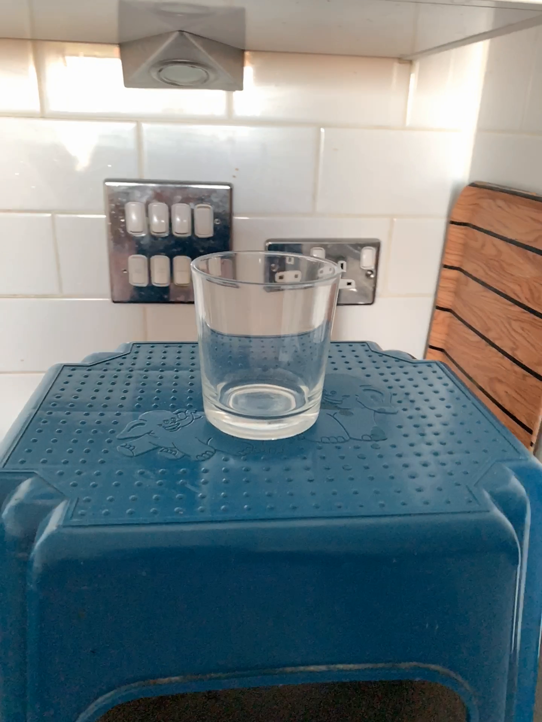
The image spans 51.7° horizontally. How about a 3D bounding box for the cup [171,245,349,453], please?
[{"bbox_3d":[-0.004,-0.011,0.301,0.076,0.085,0.067,7,23,12],"label":"cup"}]
